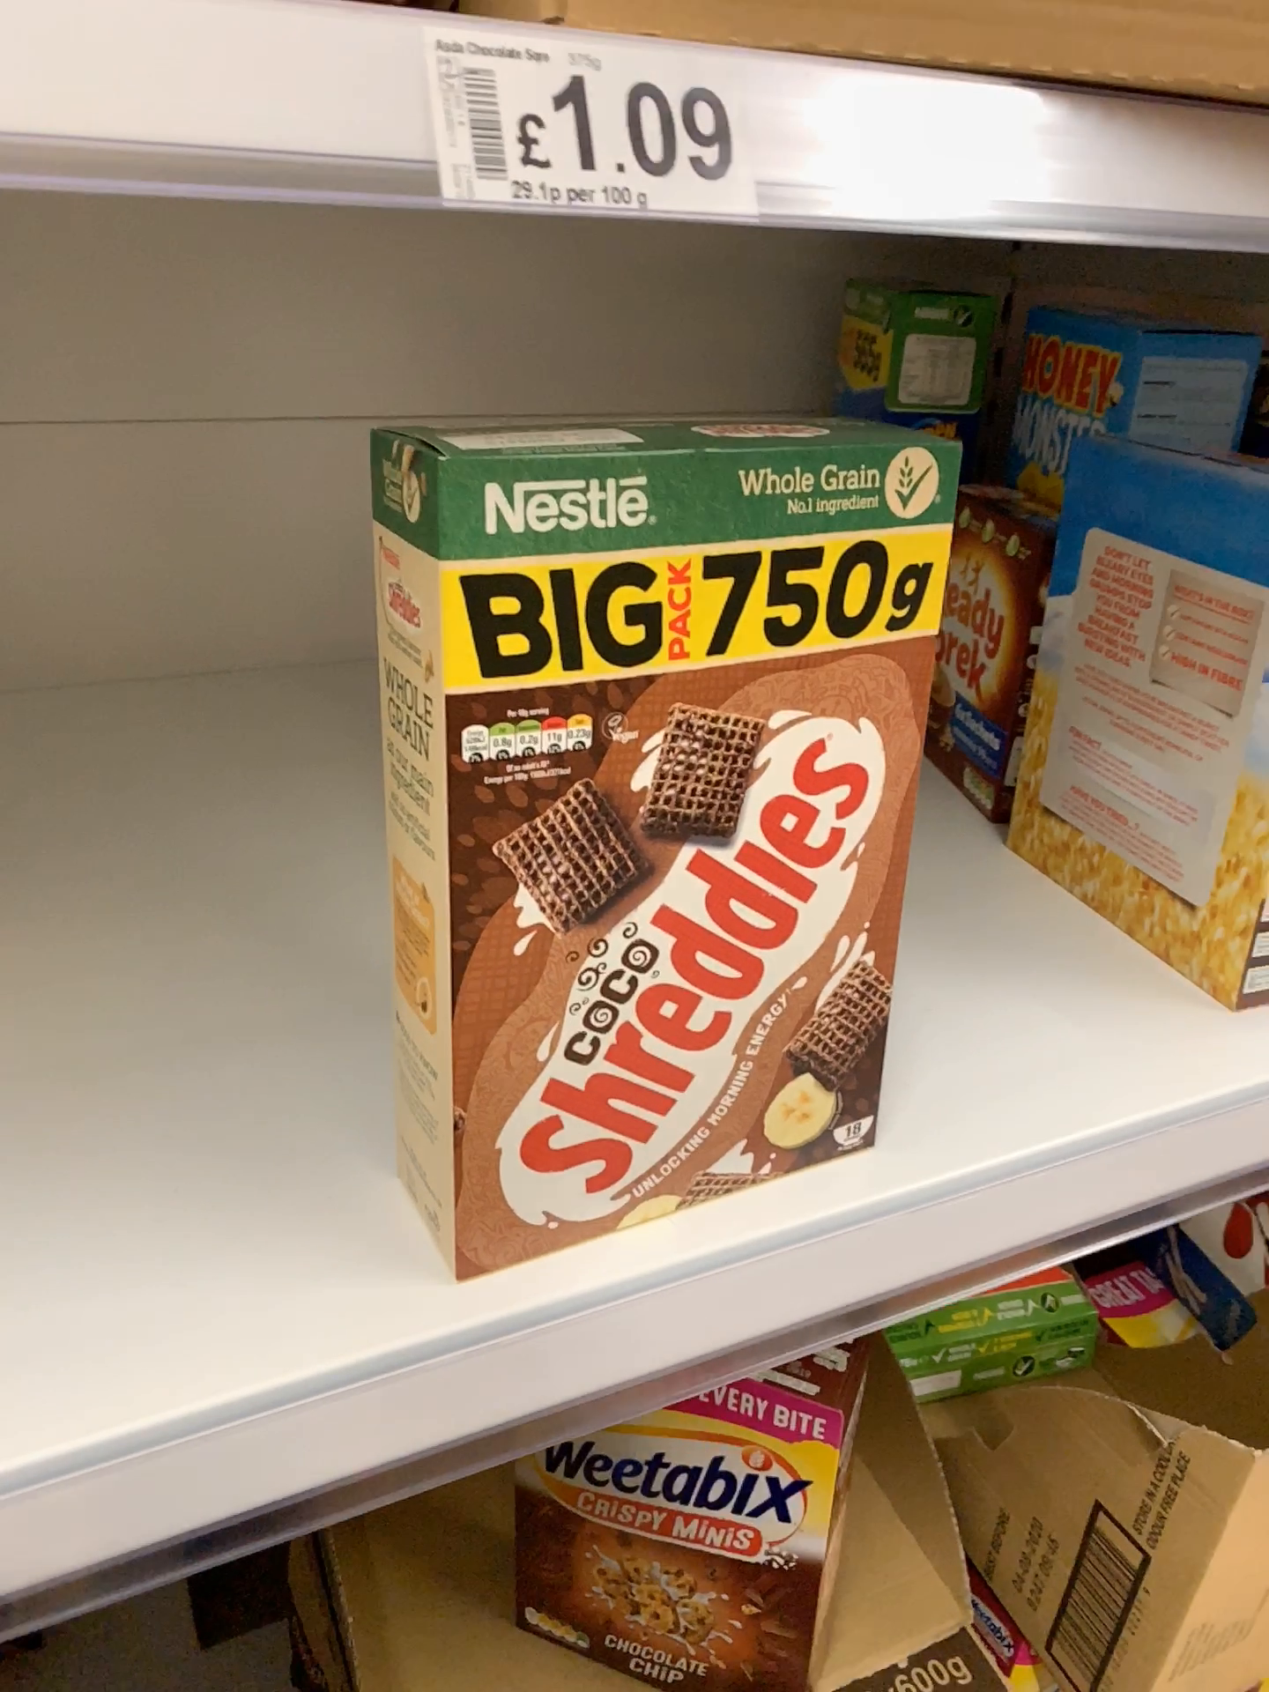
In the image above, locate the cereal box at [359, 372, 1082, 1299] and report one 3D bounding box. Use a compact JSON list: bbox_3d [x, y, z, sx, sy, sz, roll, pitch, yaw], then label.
[{"bbox_3d":[0.023,-0.010,0.459,0.210,0.288,0.080,-10,28,-26],"label":"cereal box"}]
